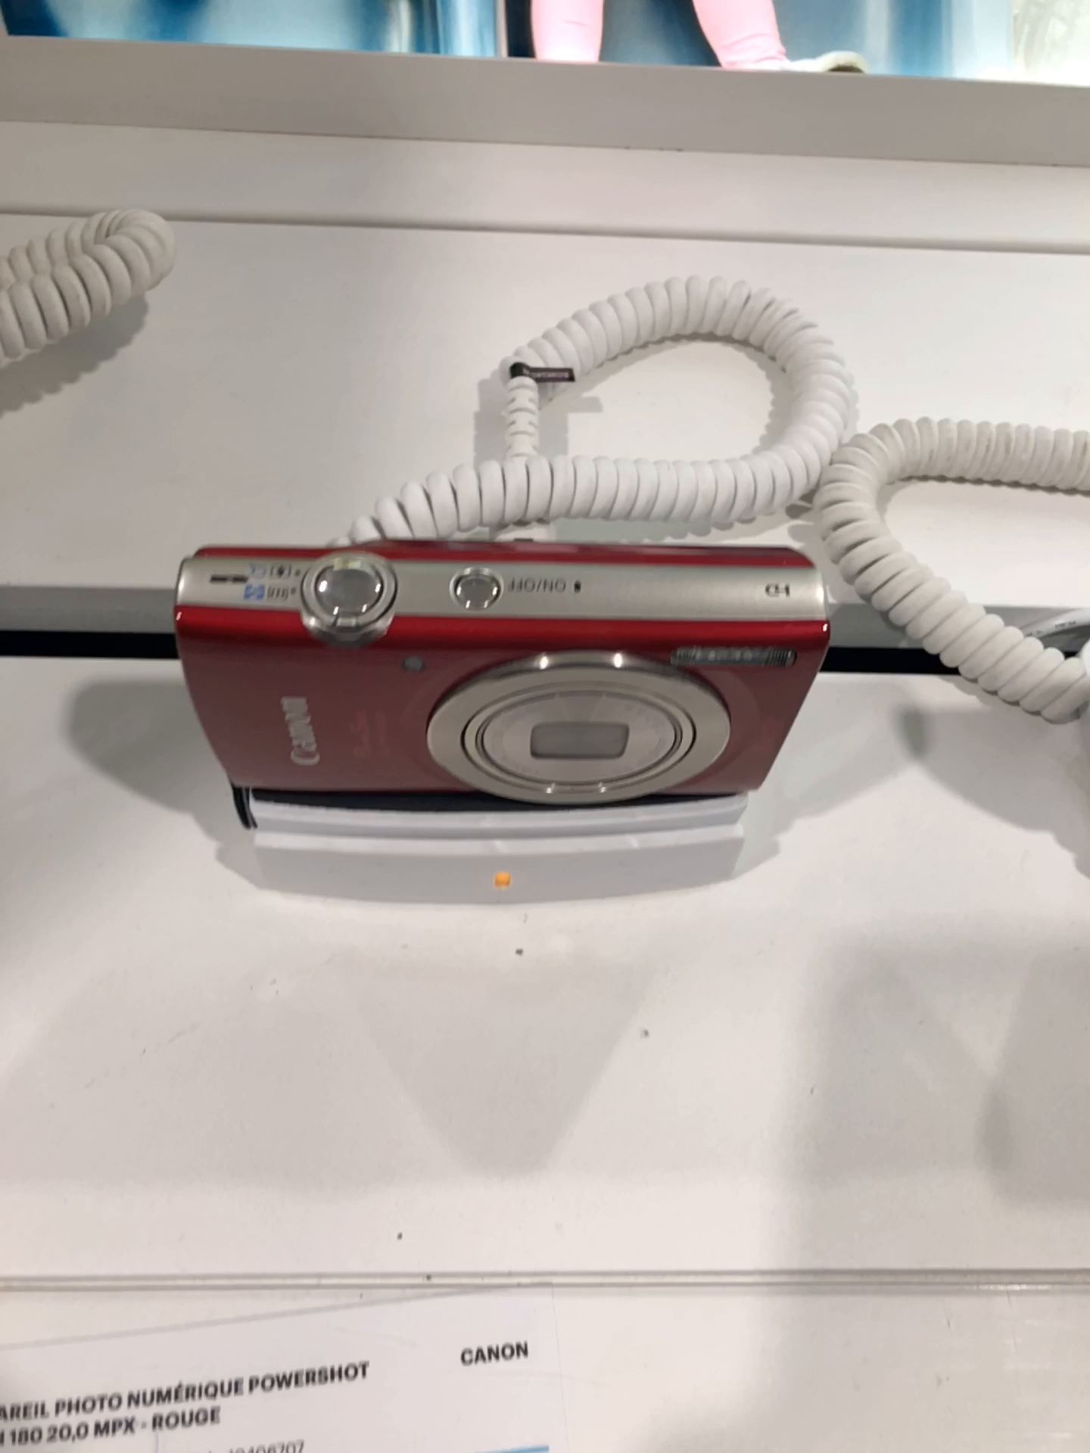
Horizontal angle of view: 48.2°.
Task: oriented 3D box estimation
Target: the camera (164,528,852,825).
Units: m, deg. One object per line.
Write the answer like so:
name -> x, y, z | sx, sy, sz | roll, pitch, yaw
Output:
camera -> -0.006, -0.006, 0.191 | 0.093, 0.050, 0.022 | -1, 58, -3
